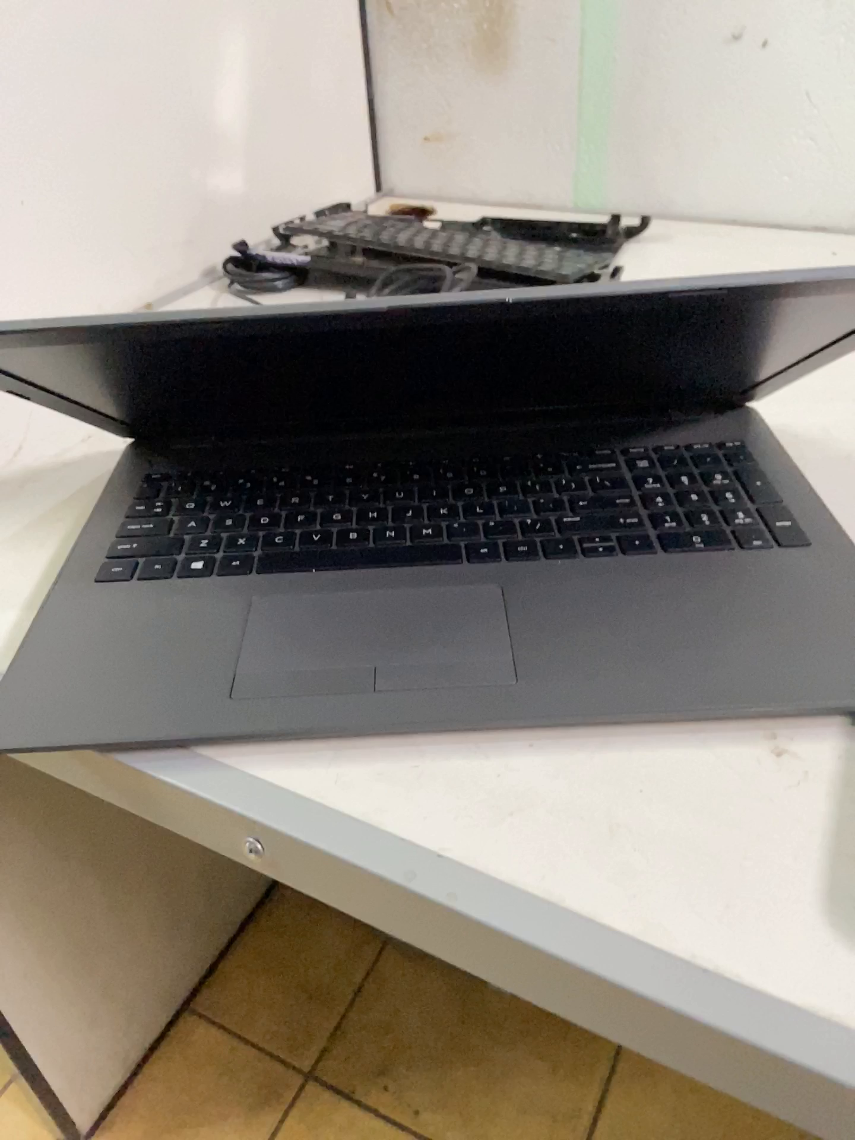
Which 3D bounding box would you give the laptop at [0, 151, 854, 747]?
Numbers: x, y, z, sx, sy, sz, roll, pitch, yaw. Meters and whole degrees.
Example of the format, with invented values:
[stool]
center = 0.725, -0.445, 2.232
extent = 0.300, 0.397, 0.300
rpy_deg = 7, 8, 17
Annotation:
[laptop]
center = 0.005, -0.074, 0.397
extent = 0.379, 0.141, 0.249
rpy_deg = -3, 37, 1
